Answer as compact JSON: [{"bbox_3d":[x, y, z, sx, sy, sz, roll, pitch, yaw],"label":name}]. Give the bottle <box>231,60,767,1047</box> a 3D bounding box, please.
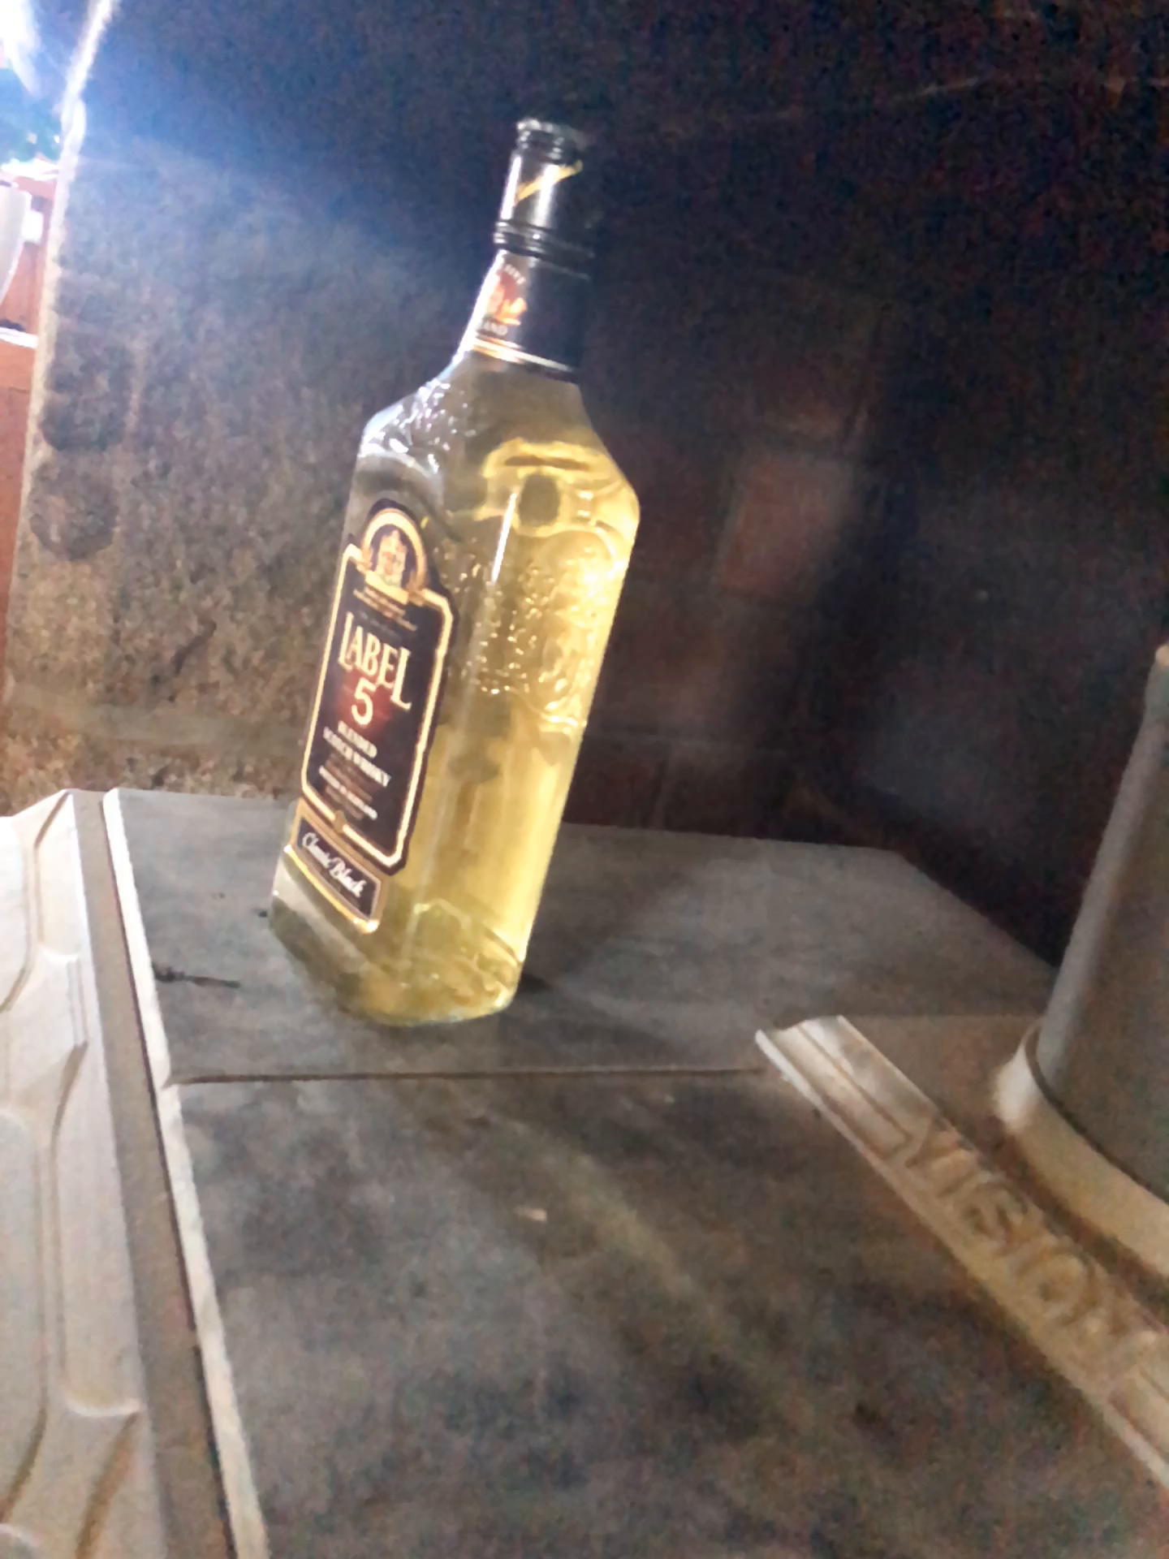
[{"bbox_3d":[-0.037,-0.063,0.377,0.060,0.249,0.110,2,20,-37],"label":"bottle"}]
